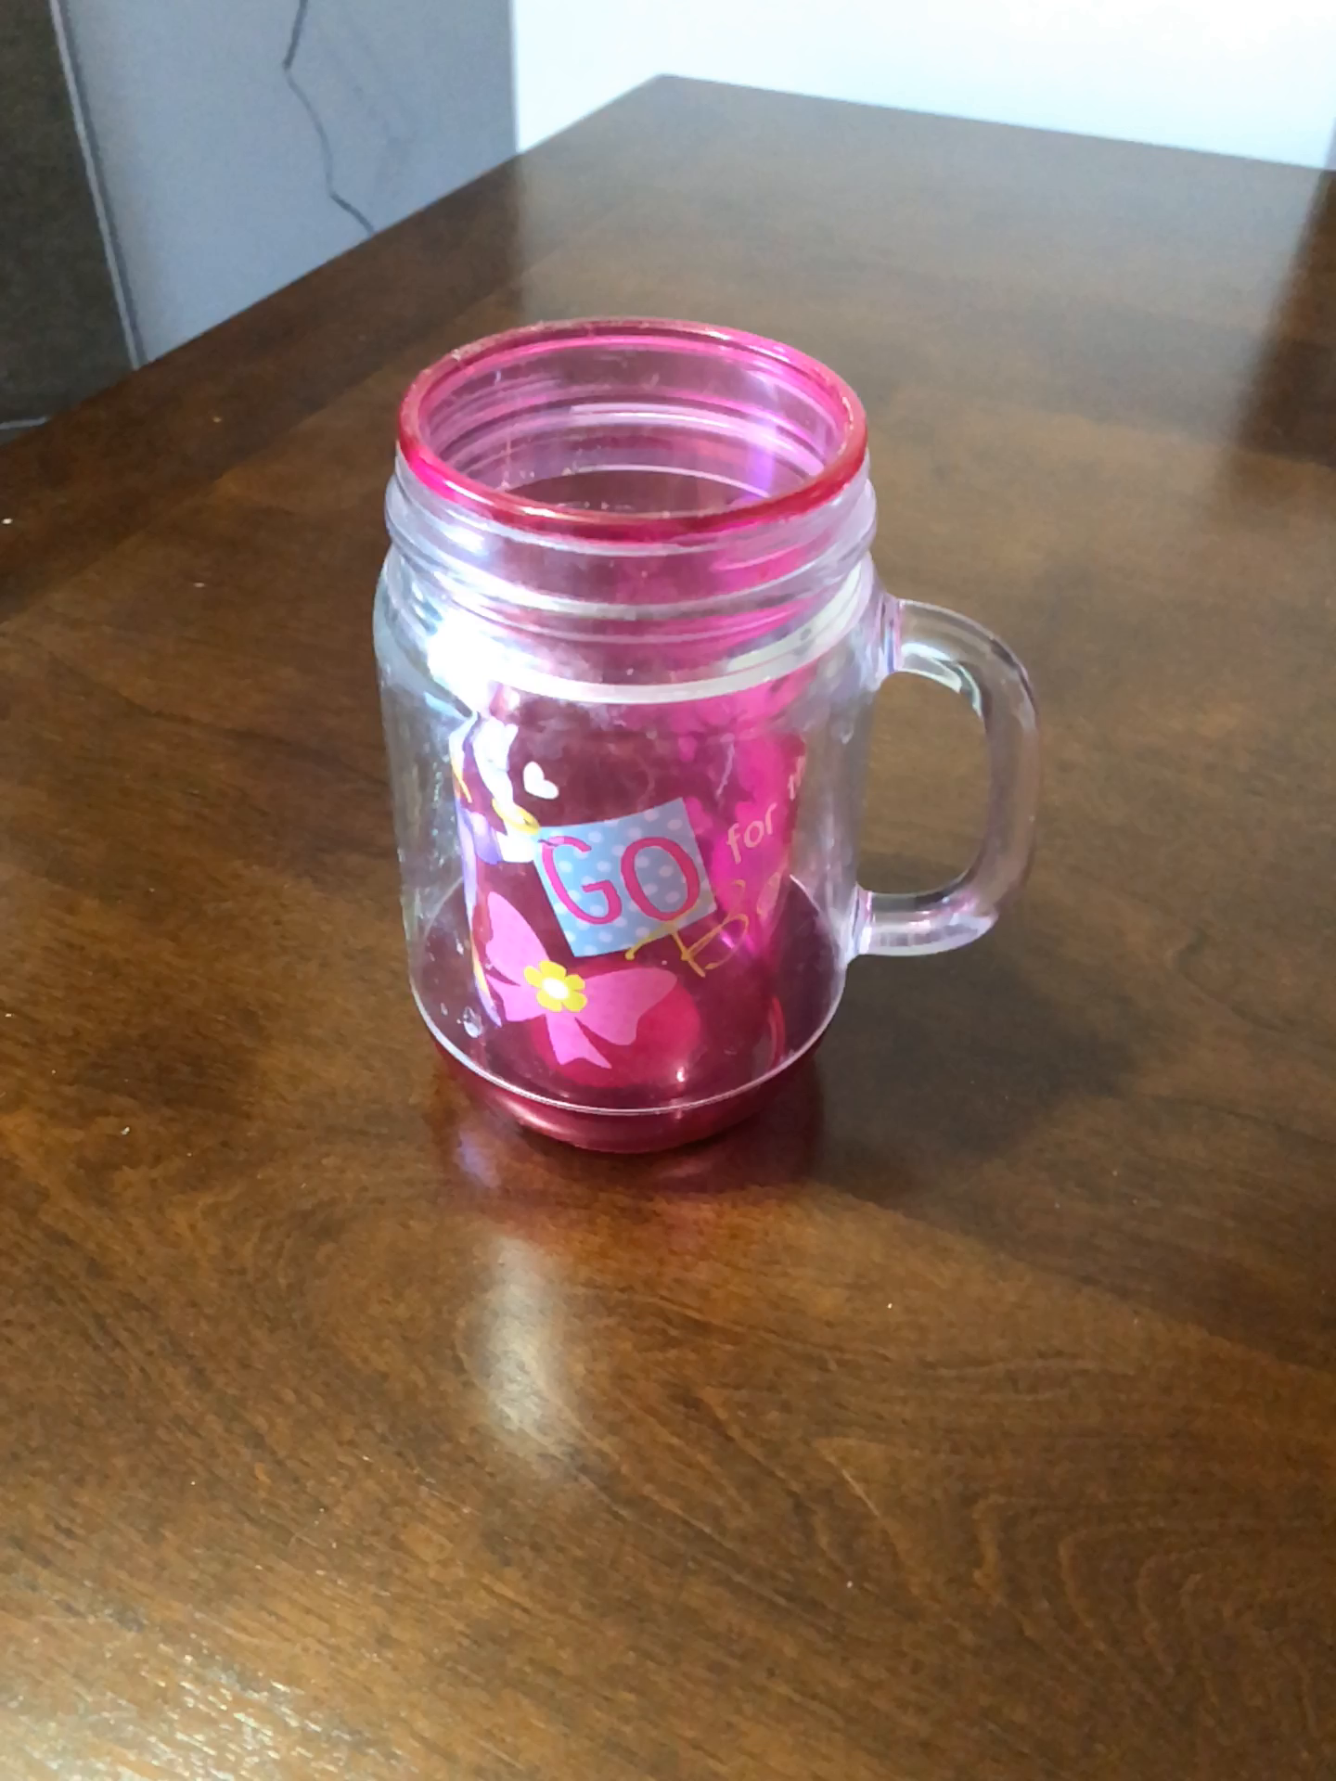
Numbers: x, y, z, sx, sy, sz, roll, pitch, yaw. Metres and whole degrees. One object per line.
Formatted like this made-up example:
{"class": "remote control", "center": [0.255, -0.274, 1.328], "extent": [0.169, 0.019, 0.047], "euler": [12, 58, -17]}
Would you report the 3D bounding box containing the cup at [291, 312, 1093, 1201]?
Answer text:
{"class": "cup", "center": [0.004, -0.021, 0.305], "extent": [0.120, 0.159, 0.080], "euler": [3, 42, 2]}
